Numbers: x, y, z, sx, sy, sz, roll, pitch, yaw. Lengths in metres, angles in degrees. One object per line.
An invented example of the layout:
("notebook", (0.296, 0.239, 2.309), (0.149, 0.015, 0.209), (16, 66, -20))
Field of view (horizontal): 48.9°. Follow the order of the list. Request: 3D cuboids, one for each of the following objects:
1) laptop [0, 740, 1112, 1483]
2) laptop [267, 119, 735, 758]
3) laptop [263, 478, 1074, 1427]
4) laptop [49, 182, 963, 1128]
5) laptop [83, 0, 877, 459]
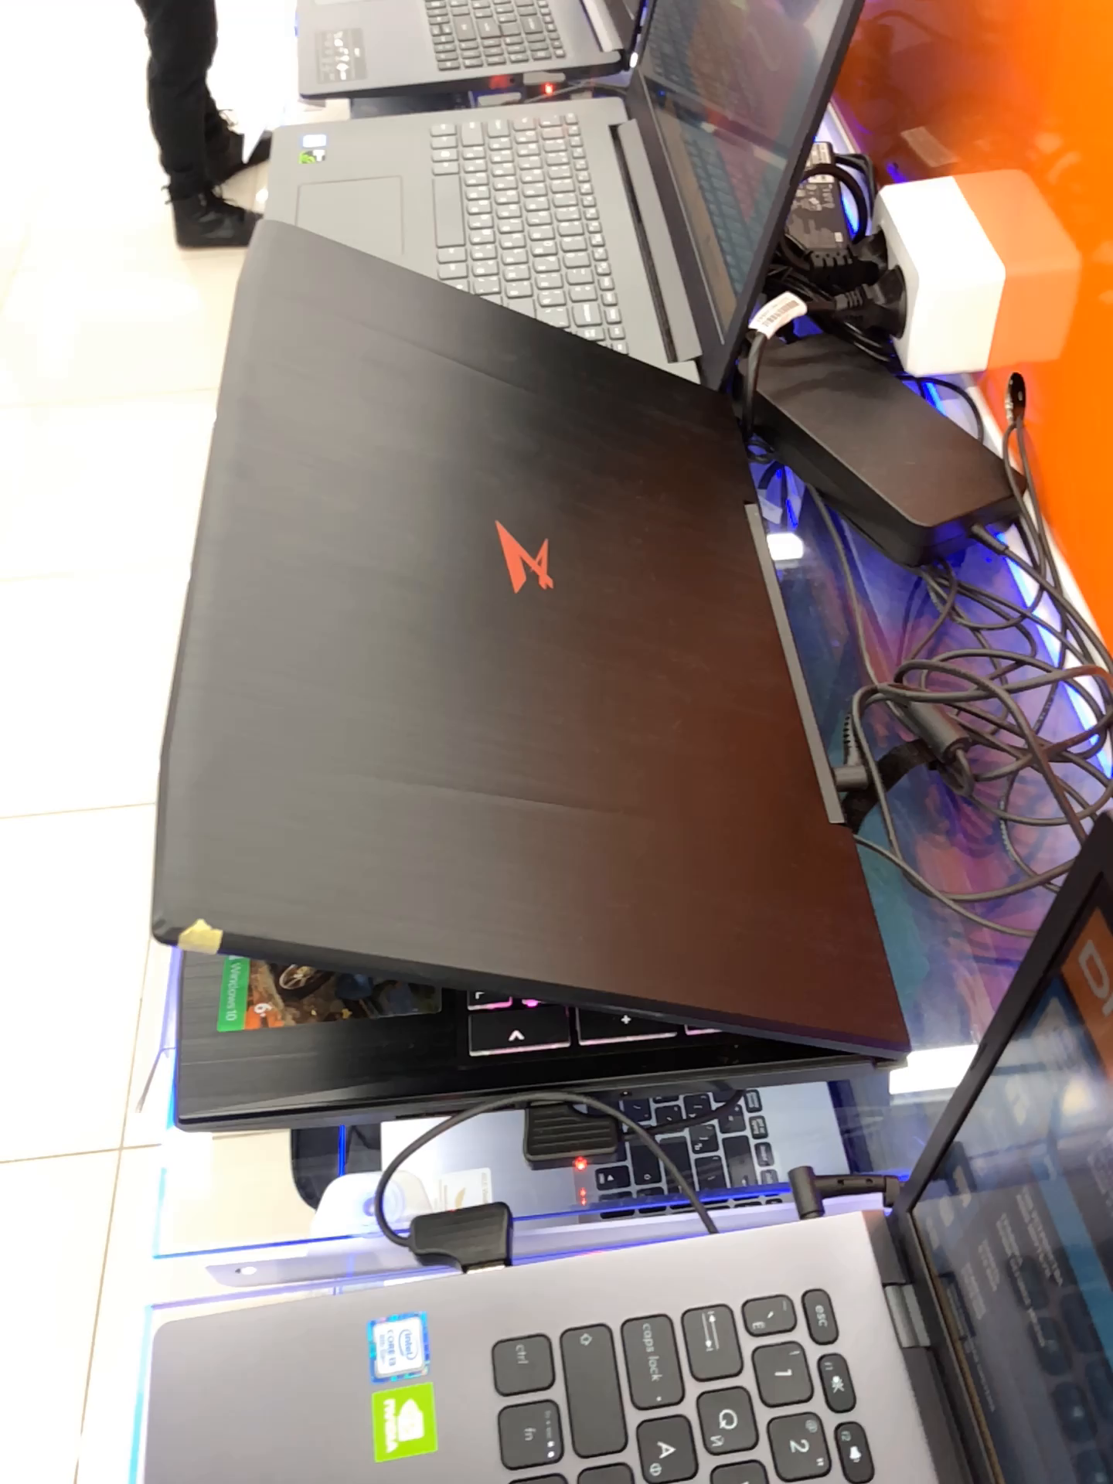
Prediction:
("laptop", (0.006, 0.230, 0.179), (0.230, 0.216, 0.353), (-9, 50, -3))
("laptop", (-0.044, -0.241, 0.943), (0.272, 0.270, 0.408), (-5, 51, -1))
("laptop", (0.026, 0.103, 0.655), (0.286, 0.256, 0.396), (-7, 50, 0))
("laptop", (-0.028, -0.061, 0.485), (0.243, 0.121, 0.365), (-6, 51, -1))
("laptop", (-0.035, -0.388, 0.685), (0.318, 0.228, 0.360), (-6, 51, -2))
